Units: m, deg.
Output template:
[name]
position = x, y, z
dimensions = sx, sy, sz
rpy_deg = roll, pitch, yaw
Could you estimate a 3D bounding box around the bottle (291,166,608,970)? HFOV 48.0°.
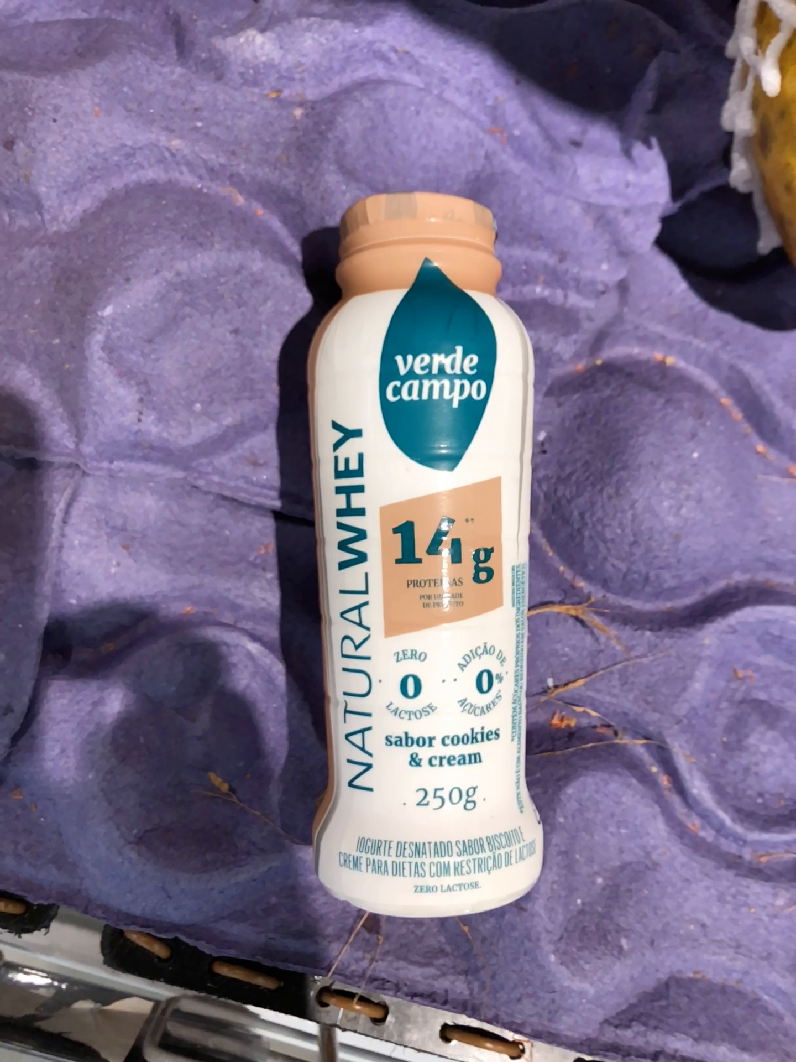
[bottle]
position = 0.009, 0.007, 0.204
dimensions = 0.060, 0.040, 0.160
rpy_deg = -1, 89, -12
